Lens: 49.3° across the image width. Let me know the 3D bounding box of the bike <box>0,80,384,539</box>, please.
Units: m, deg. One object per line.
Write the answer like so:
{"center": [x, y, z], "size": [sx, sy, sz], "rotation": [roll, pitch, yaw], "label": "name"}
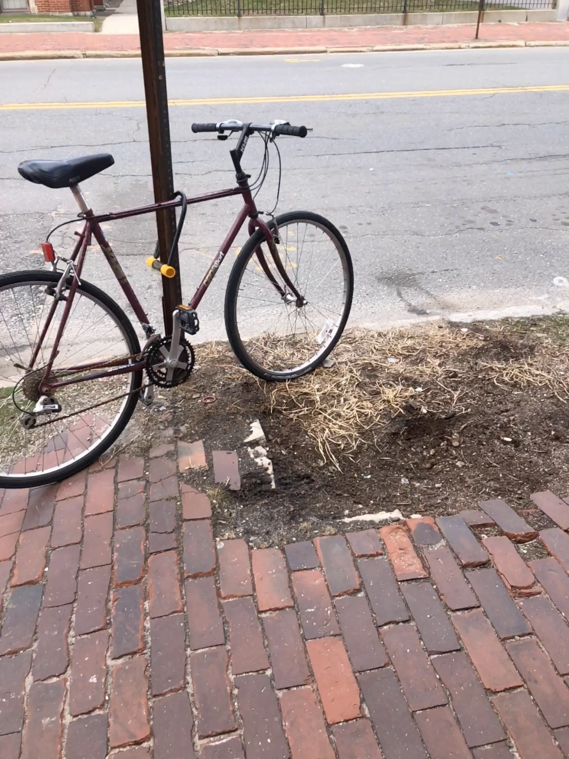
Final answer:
{"center": [-0.445, -0.389, 2.175], "size": [1.687, 0.962, 0.556], "rotation": [-26, 40, -32], "label": "bike"}
